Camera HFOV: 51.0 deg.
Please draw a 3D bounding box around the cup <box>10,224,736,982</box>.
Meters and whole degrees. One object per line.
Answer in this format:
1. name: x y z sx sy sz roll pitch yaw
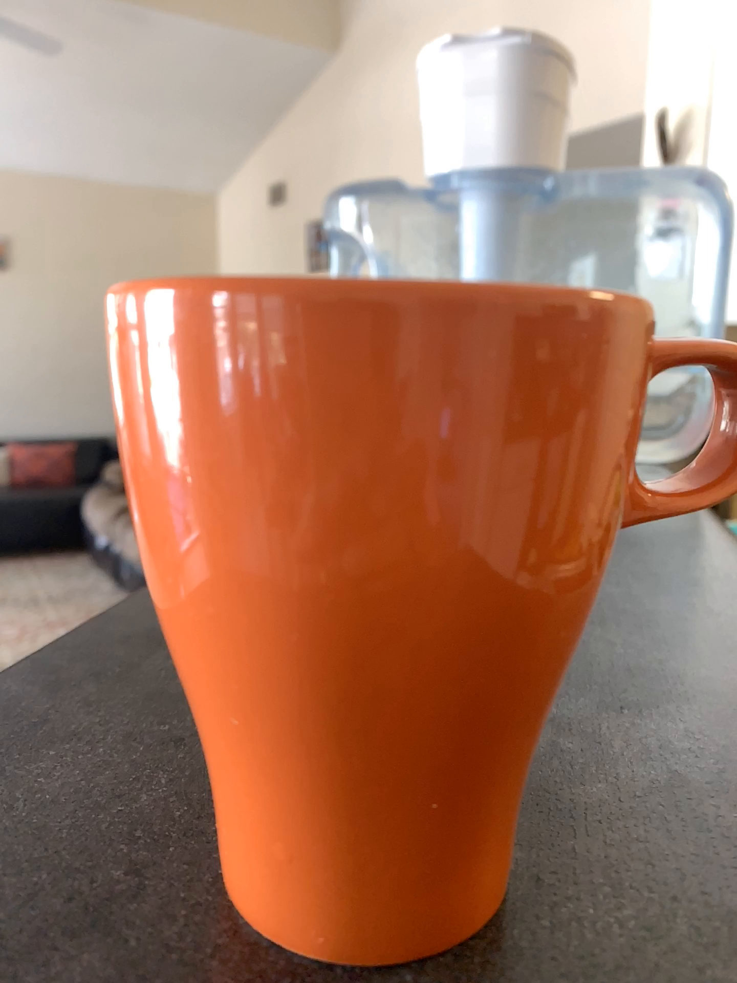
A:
1. cup: 0.021 0.012 0.126 0.120 0.090 0.080 0 10 -6
